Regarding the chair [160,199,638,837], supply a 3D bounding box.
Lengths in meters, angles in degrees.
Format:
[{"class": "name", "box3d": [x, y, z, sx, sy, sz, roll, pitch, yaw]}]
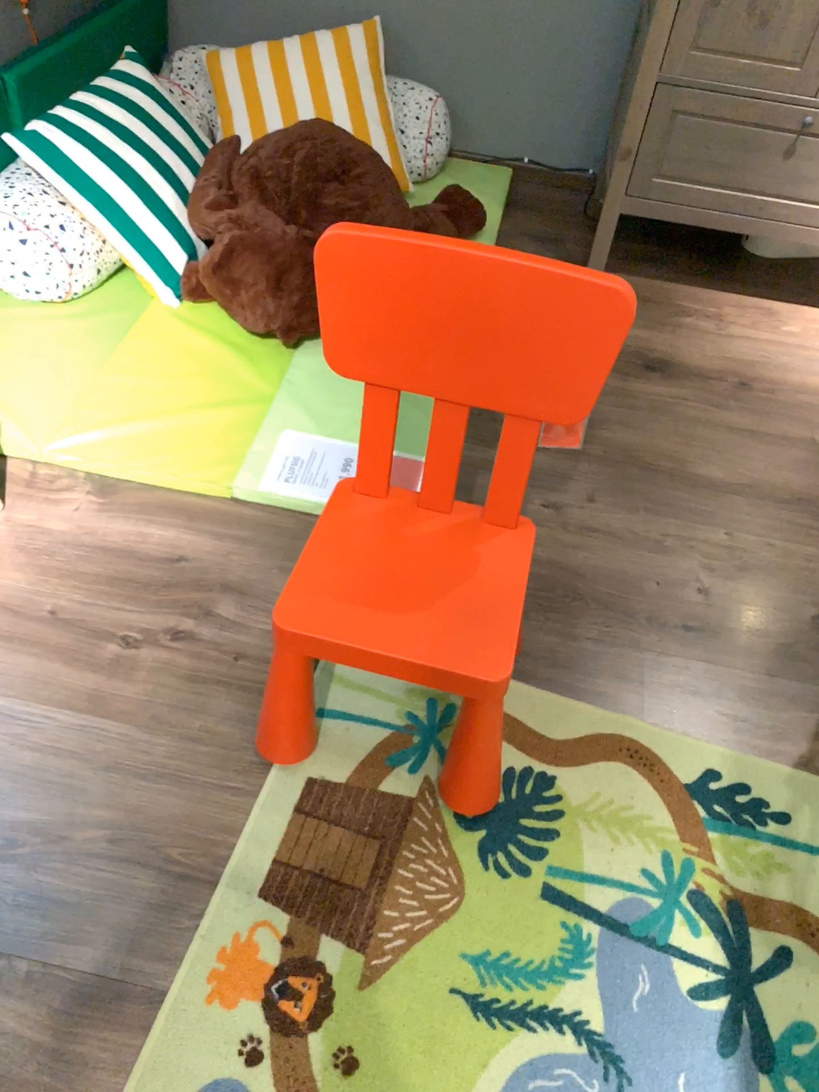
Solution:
[{"class": "chair", "box3d": [0.002, -0.019, 1.073, 0.380, 0.598, 0.462, 14, 48, 7]}]
